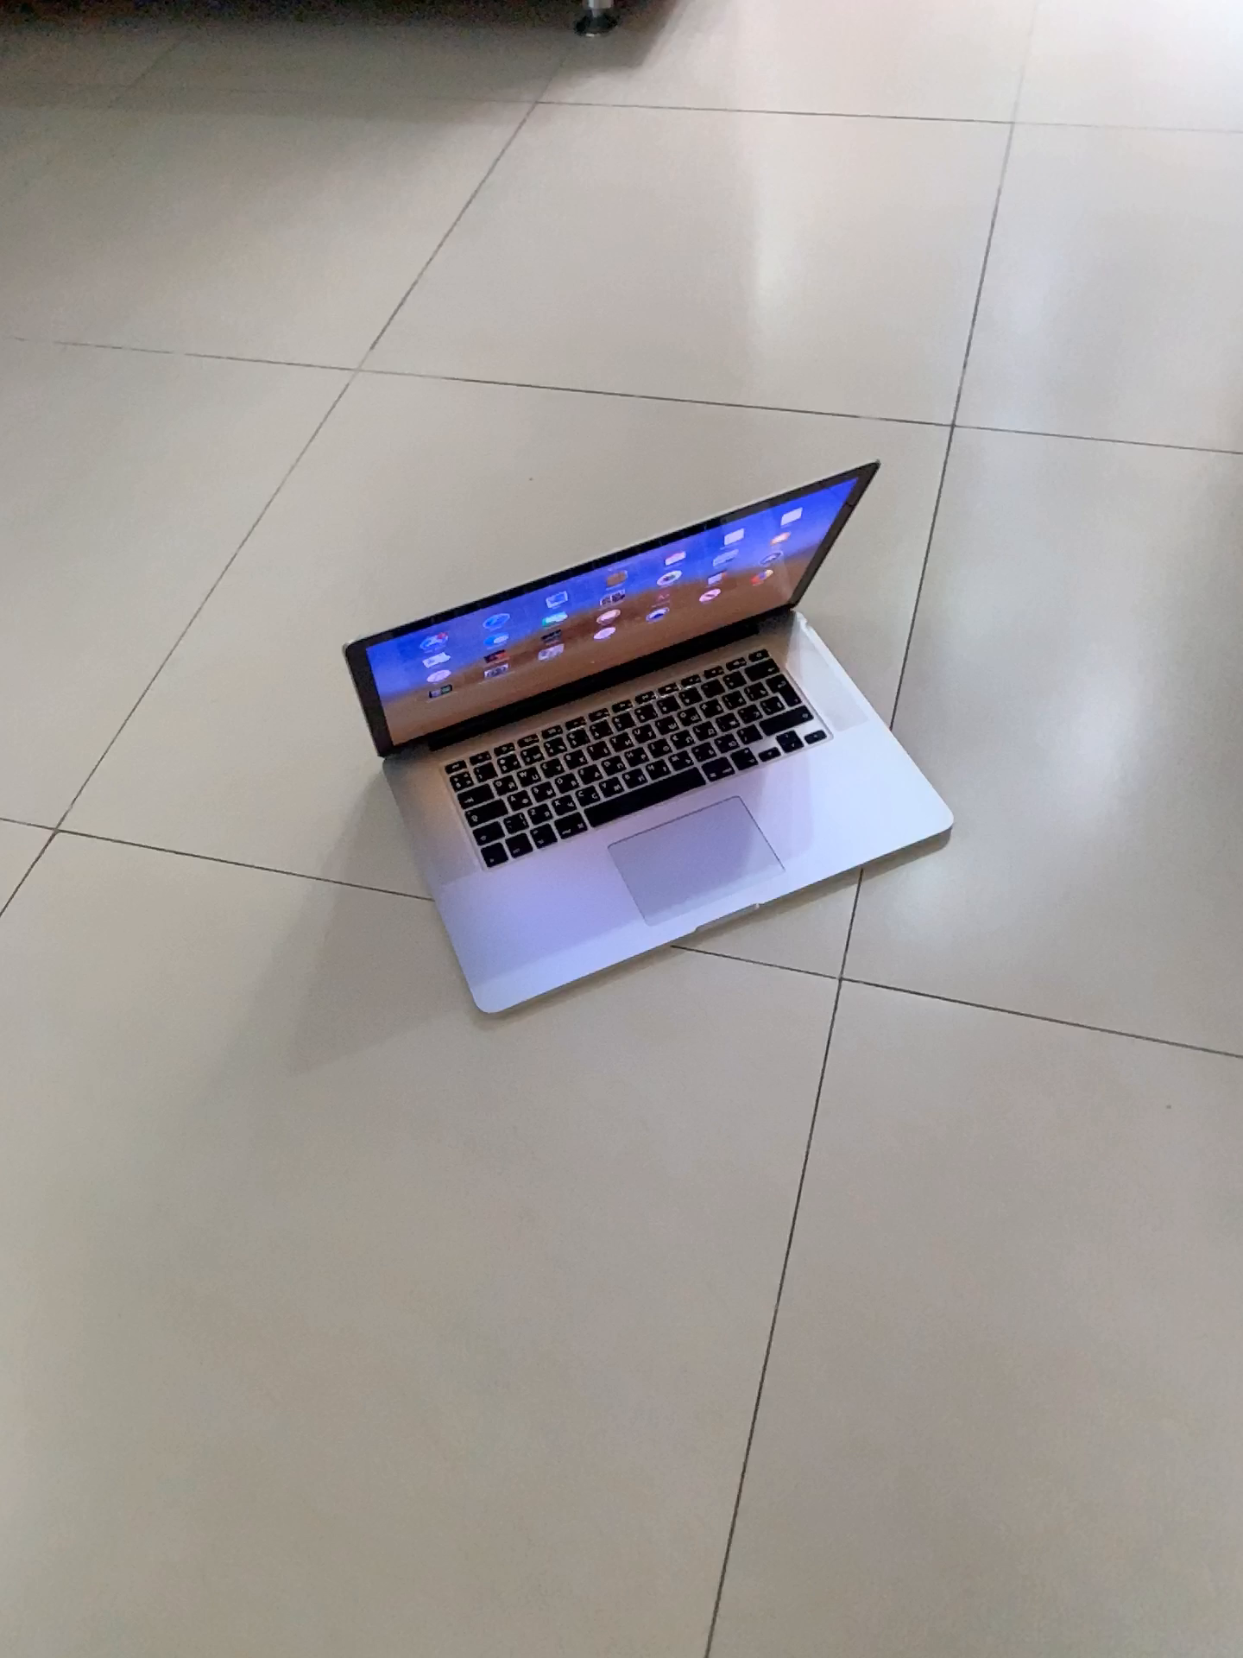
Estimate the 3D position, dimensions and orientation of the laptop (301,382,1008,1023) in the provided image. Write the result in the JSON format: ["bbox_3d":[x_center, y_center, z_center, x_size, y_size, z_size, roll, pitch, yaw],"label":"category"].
[{"bbox_3d":[0.017,-0.089,0.841,0.359,0.207,0.242,-21,54,-10],"label":"laptop"}]
